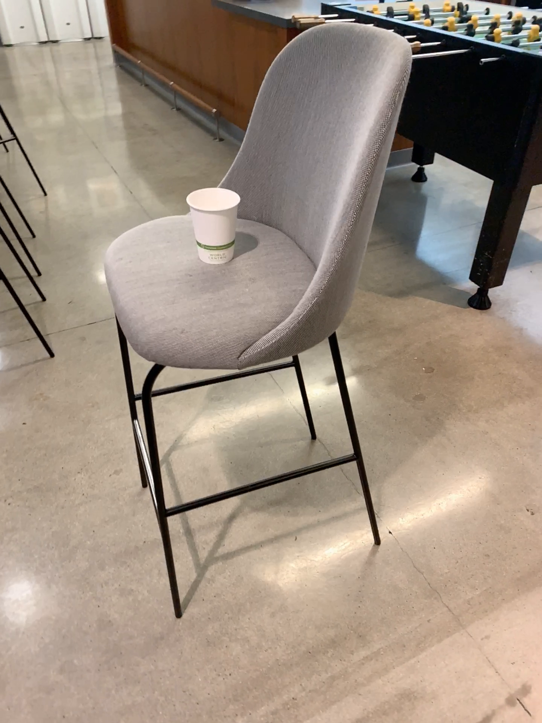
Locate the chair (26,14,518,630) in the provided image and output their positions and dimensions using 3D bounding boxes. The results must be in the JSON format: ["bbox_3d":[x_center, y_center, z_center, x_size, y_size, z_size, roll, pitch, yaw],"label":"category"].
[{"bbox_3d":[-0.037,-0.038,1.115,0.570,1.054,0.473,-14,40,-16],"label":"chair"}]
